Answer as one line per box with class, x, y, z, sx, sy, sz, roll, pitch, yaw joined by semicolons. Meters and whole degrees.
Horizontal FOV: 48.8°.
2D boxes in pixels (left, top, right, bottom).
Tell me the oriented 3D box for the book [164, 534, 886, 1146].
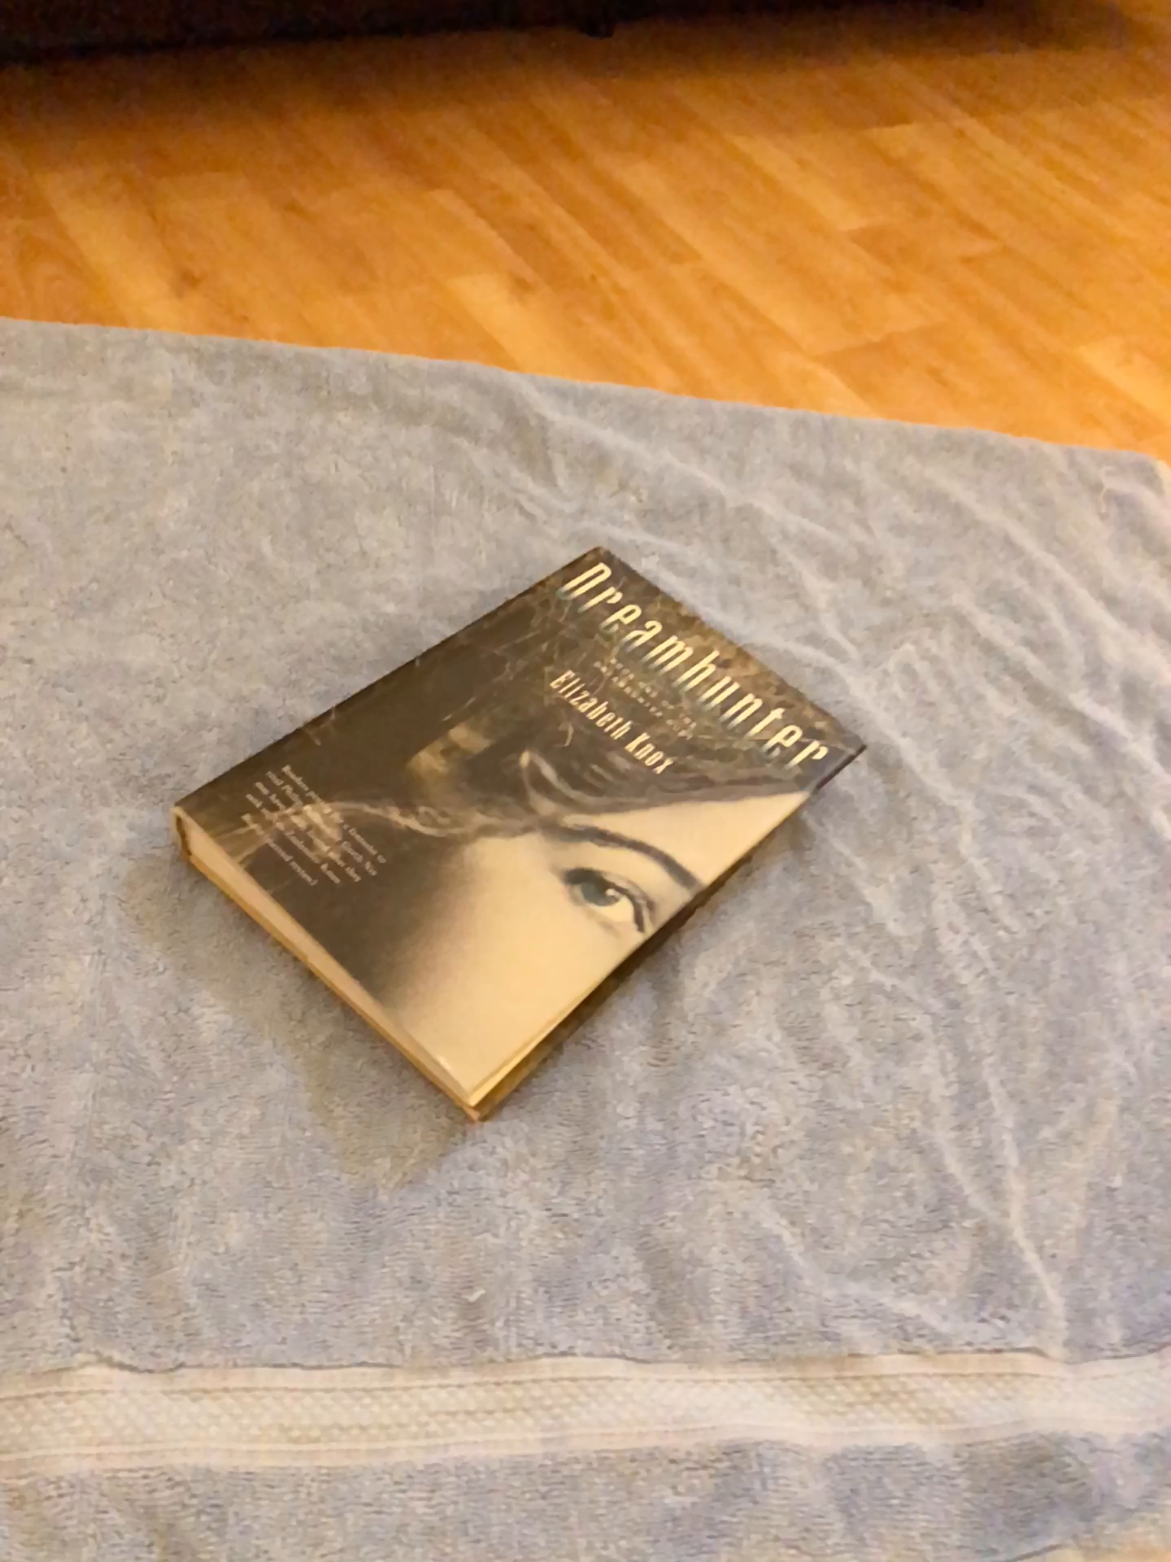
book;-0.015;0.004;0.497;0.163;0.030;0.226;40;53;20
